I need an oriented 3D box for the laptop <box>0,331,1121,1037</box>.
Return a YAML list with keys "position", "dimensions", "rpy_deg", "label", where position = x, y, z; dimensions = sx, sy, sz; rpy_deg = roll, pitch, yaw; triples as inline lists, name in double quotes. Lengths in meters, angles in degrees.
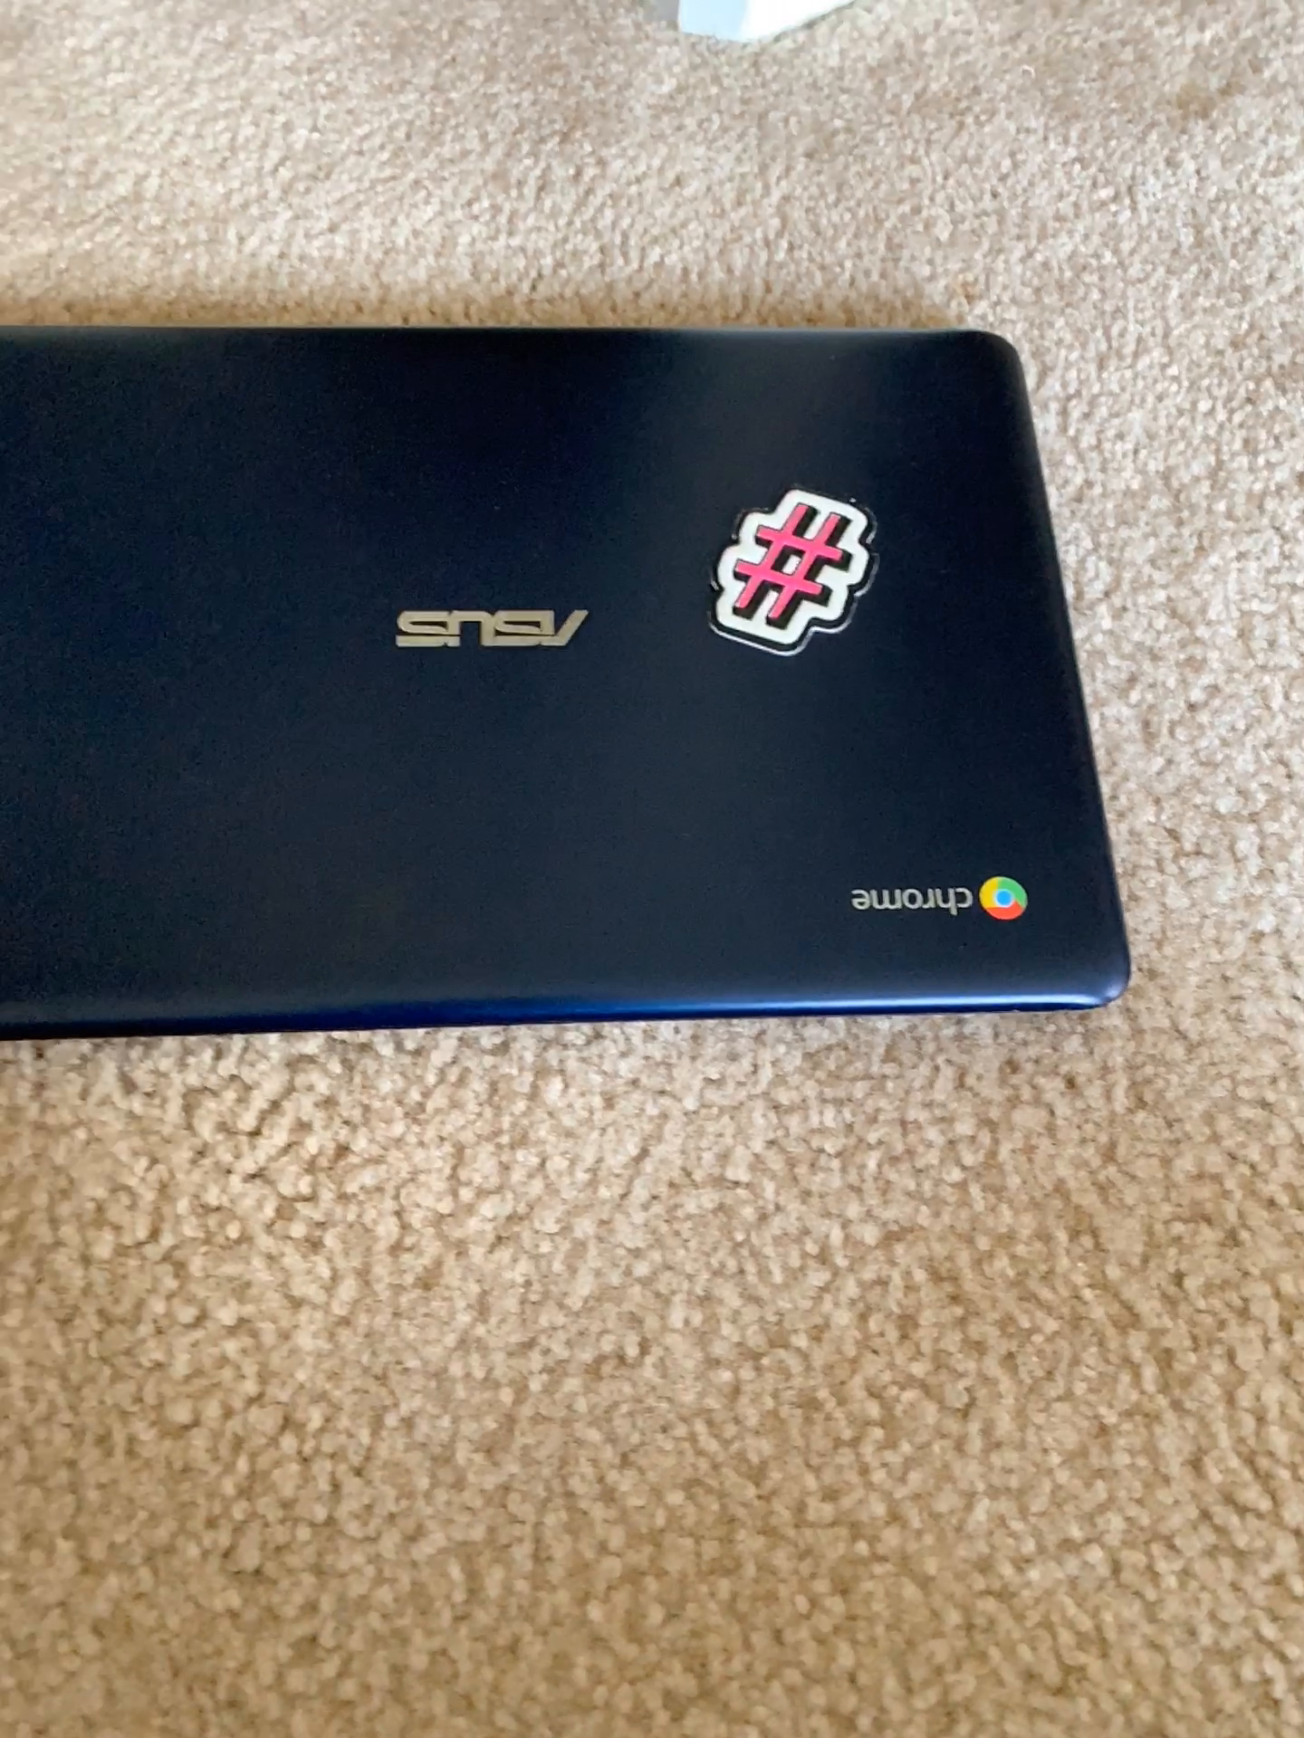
- position: [-0.037, -0.053, 0.322]
  dimensions: [0.271, 0.006, 0.182]
  rpy_deg: [-1, 69, -4]
  label: "laptop"
